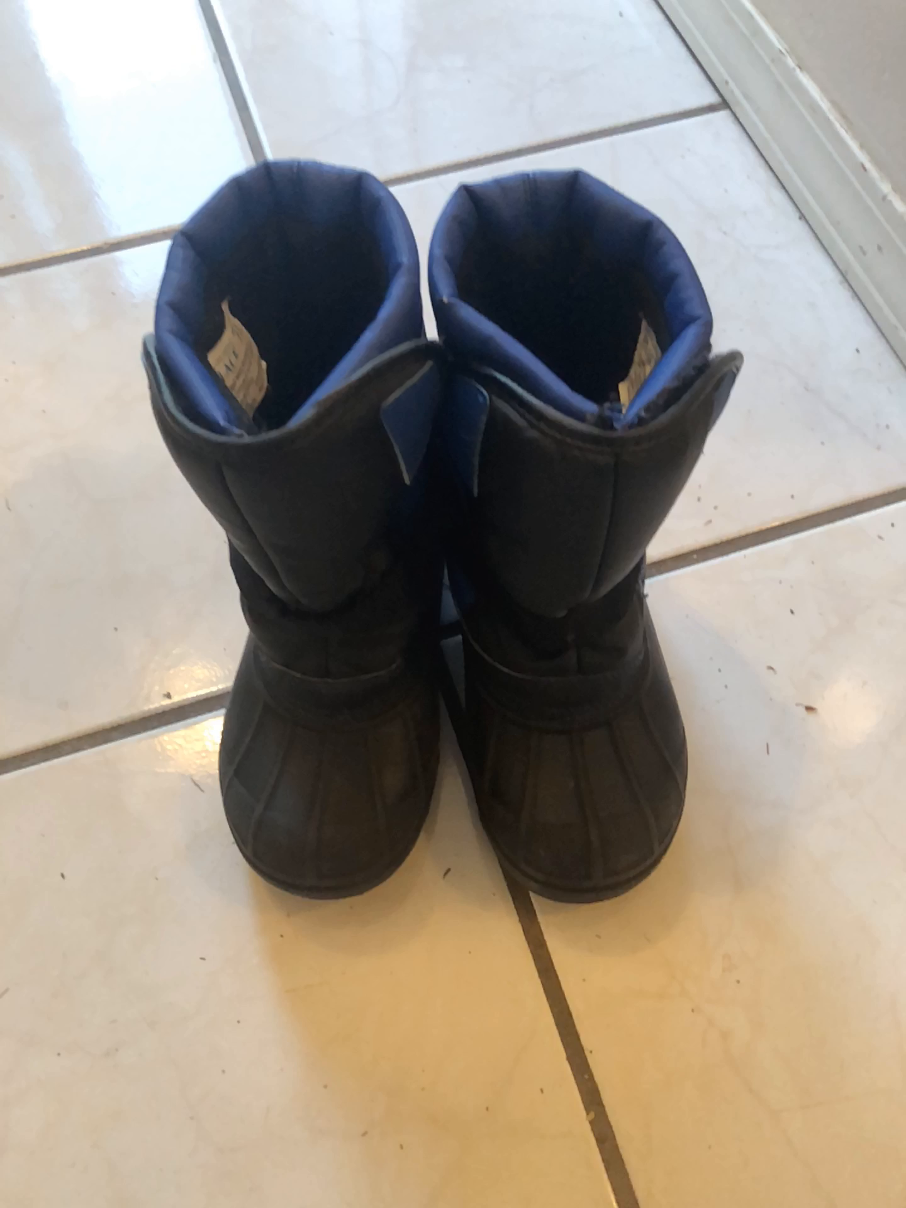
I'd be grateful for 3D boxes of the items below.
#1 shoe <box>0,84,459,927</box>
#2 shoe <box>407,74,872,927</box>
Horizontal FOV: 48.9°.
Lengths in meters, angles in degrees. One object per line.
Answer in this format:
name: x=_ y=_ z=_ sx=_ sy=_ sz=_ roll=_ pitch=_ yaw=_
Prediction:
shoe: x=-0.052 y=-0.021 z=0.362 sx=0.100 sy=0.199 sz=0.231 roll=-2 pitch=62 yaw=0
shoe: x=0.042 y=-0.027 z=0.380 sx=0.100 sy=0.199 sz=0.251 roll=-3 pitch=62 yaw=-1
